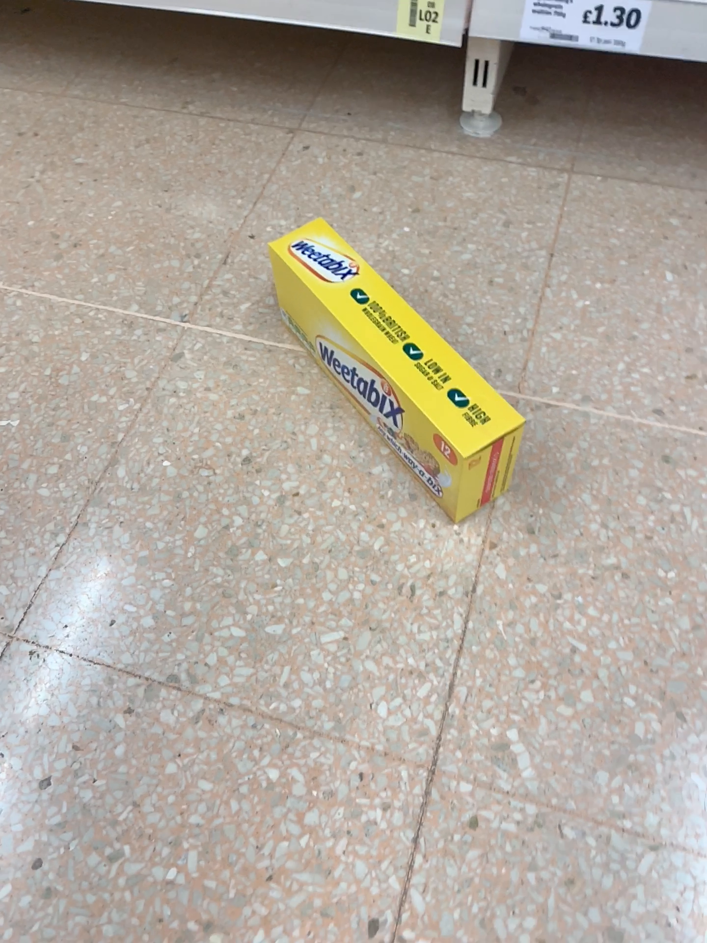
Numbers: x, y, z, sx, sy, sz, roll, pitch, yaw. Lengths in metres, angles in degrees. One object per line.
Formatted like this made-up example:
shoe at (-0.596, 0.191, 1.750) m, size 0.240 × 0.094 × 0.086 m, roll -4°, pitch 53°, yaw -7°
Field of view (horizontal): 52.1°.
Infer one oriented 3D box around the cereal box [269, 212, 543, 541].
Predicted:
cereal box at (0.029, -0.079, 0.552) m, size 0.050 × 0.099 × 0.261 m, roll -30°, pitch 61°, yaw -15°
